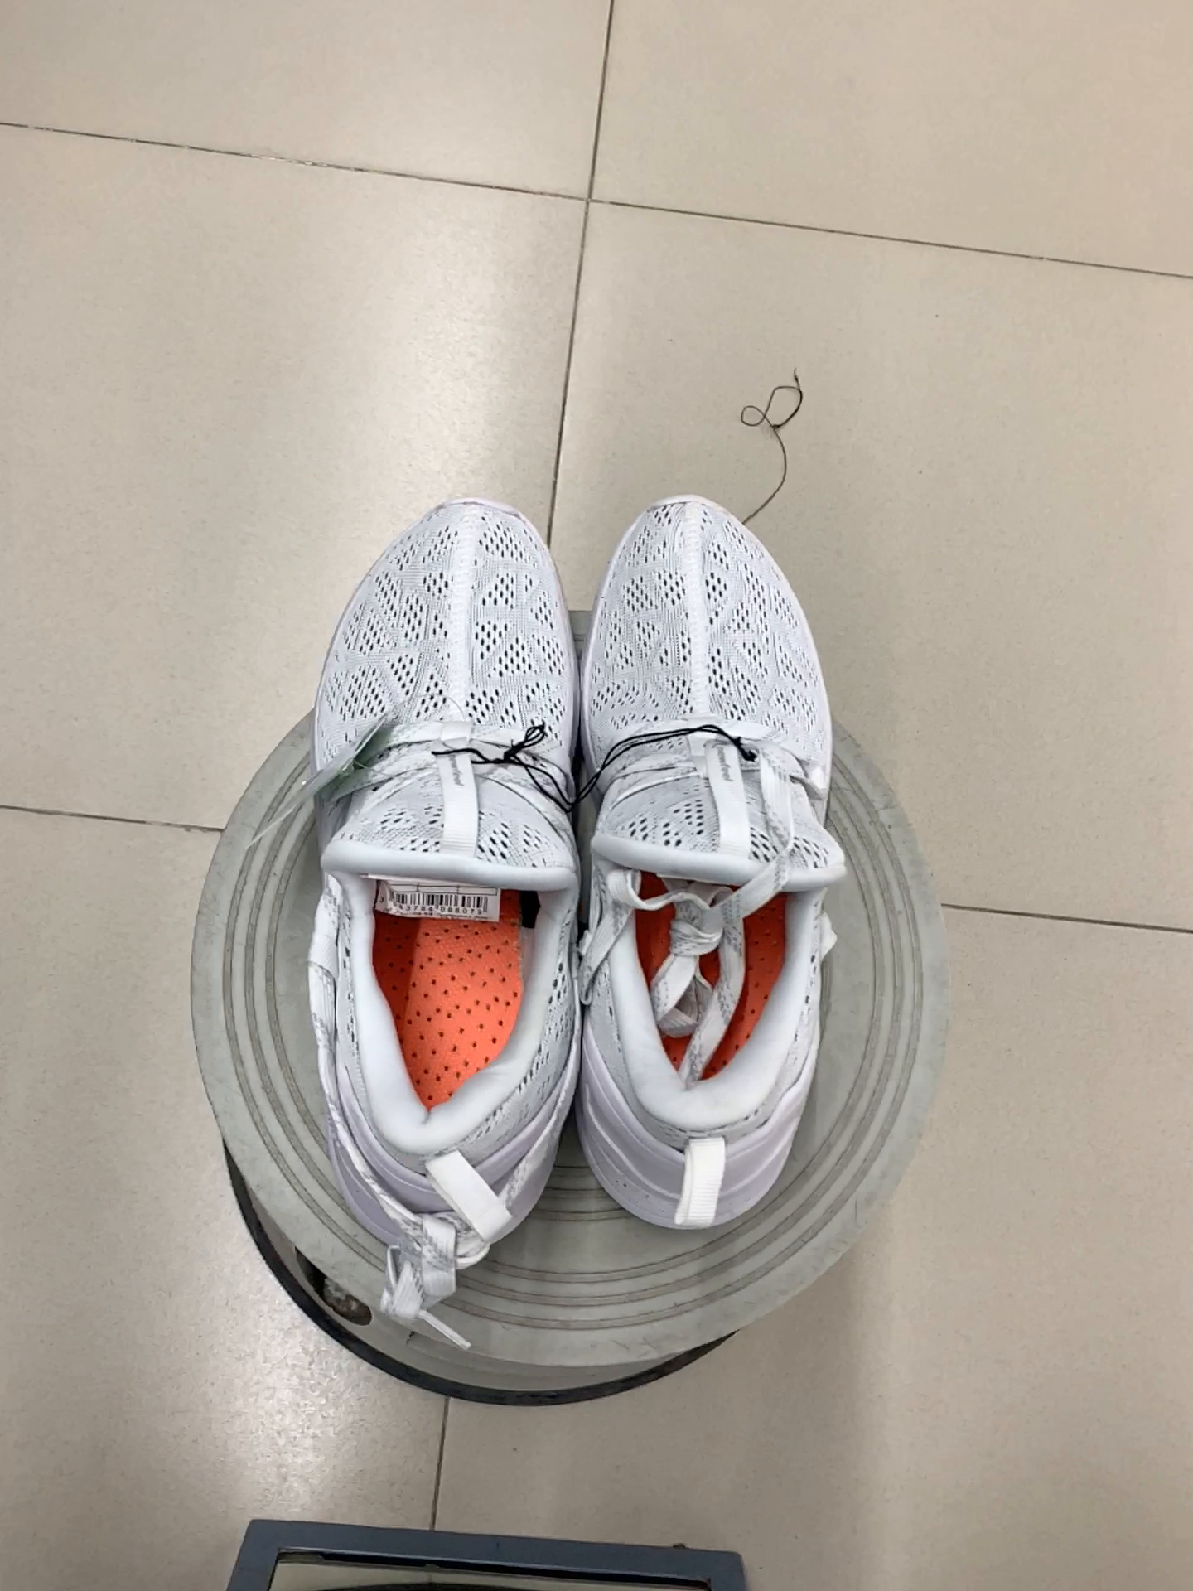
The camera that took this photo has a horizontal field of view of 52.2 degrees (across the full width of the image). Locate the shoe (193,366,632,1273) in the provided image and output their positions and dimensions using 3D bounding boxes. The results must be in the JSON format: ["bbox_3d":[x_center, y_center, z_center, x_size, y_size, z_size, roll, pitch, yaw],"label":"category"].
[{"bbox_3d":[-0.051,0.006,0.412,0.110,0.090,0.280,3,73,-4],"label":"shoe"}]

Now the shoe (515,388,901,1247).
[{"bbox_3d":[0.035,0.005,0.428,0.110,0.080,0.280,3,73,-4],"label":"shoe"}]
